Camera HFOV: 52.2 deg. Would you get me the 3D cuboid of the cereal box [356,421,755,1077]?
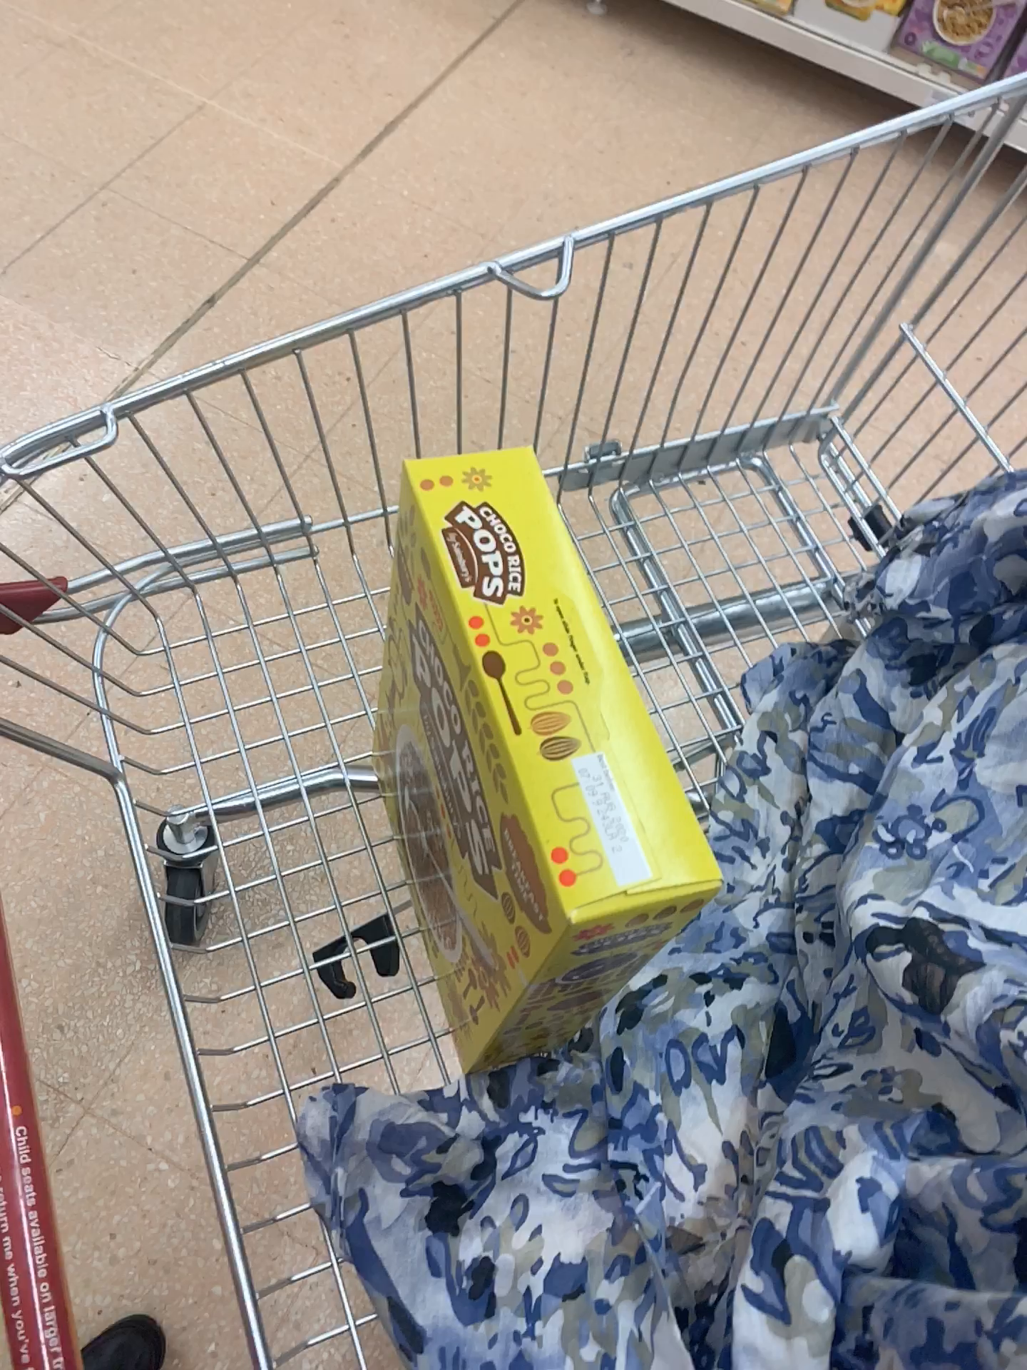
[{"bbox_3d":[-0.008,0.050,0.485,0.060,0.268,0.201,-13,65,-19],"label":"cereal box"}]
